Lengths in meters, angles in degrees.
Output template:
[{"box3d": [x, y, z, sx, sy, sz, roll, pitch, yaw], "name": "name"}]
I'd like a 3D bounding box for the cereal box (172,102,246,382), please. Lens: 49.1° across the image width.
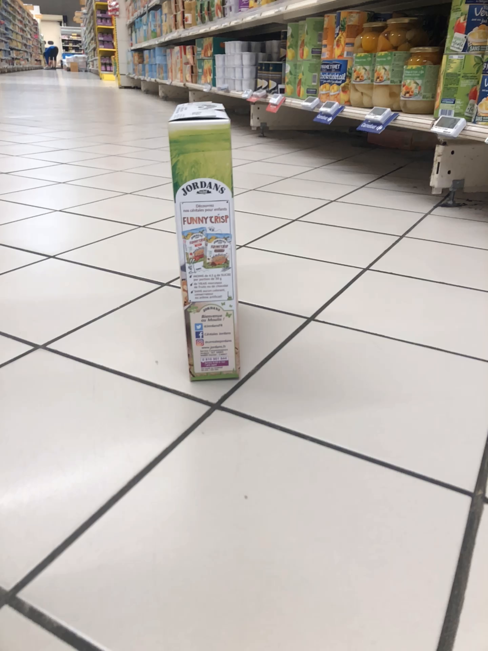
[{"box3d": [-0.032, -0.088, 0.491, 0.050, 0.209, 0.191, -1, 25, -4], "name": "cereal box"}]
